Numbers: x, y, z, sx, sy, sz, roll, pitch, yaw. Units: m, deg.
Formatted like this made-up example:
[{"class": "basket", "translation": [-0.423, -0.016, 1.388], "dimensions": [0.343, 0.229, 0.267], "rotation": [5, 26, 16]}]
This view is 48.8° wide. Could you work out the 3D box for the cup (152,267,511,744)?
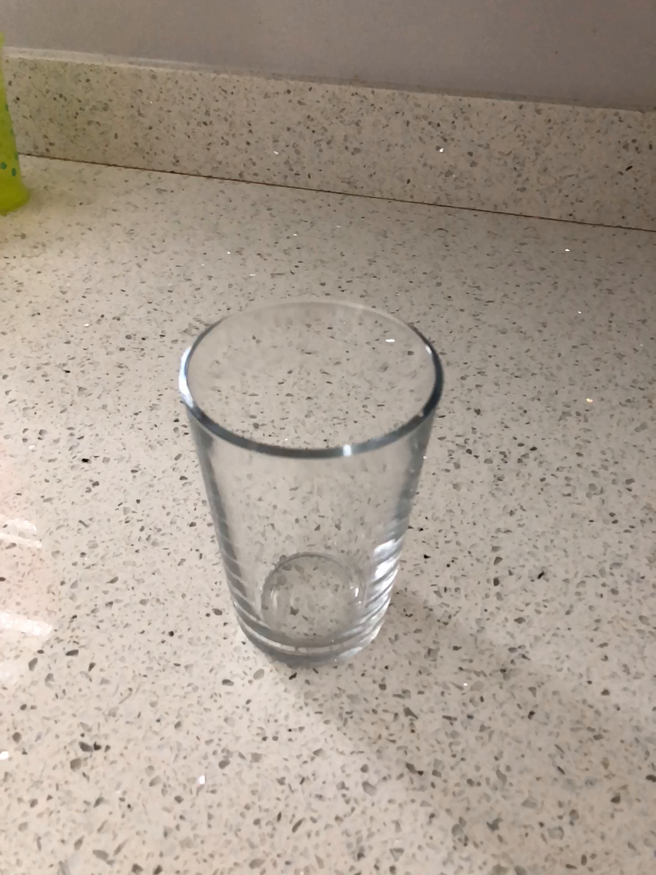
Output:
[{"class": "cup", "translation": [-0.005, 0.022, 0.228], "dimensions": [0.074, 0.114, 0.080], "rotation": [0, 41, 0]}]
